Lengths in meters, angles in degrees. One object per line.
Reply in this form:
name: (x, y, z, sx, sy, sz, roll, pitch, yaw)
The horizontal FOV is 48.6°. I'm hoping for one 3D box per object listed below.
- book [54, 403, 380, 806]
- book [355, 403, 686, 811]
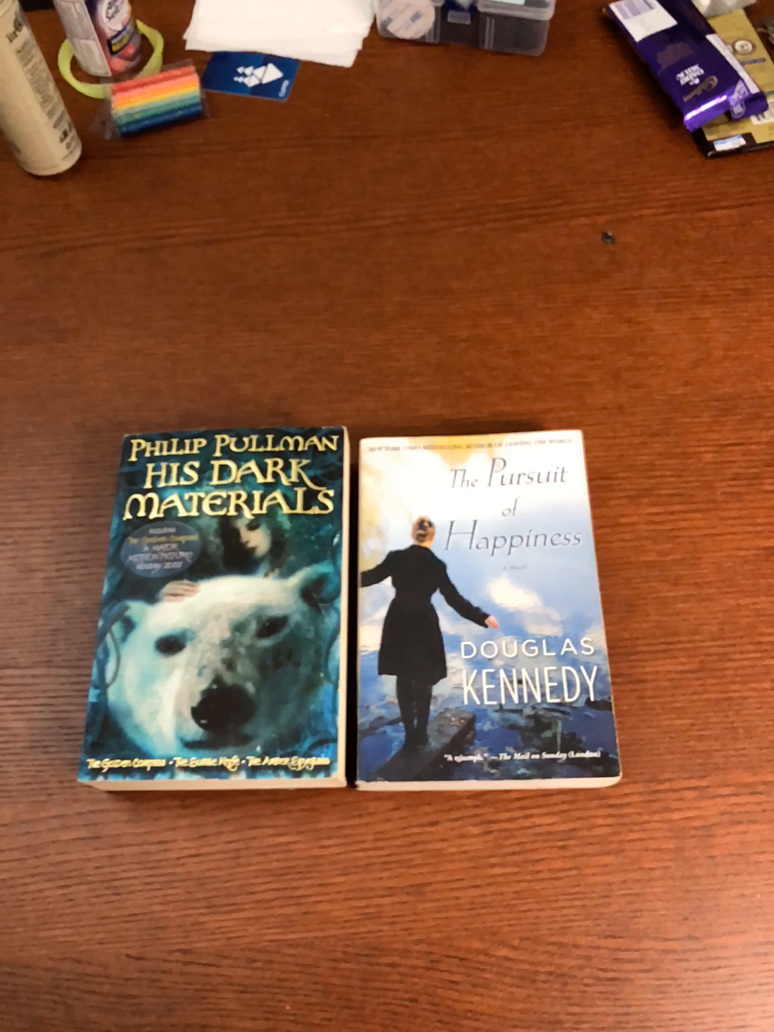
book: (-0.097, 0.051, 0.552, 0.180, 0.050, 0.251, -2, 66, 2)
book: (0.072, 0.050, 0.538, 0.180, 0.040, 0.251, -2, 66, 2)
